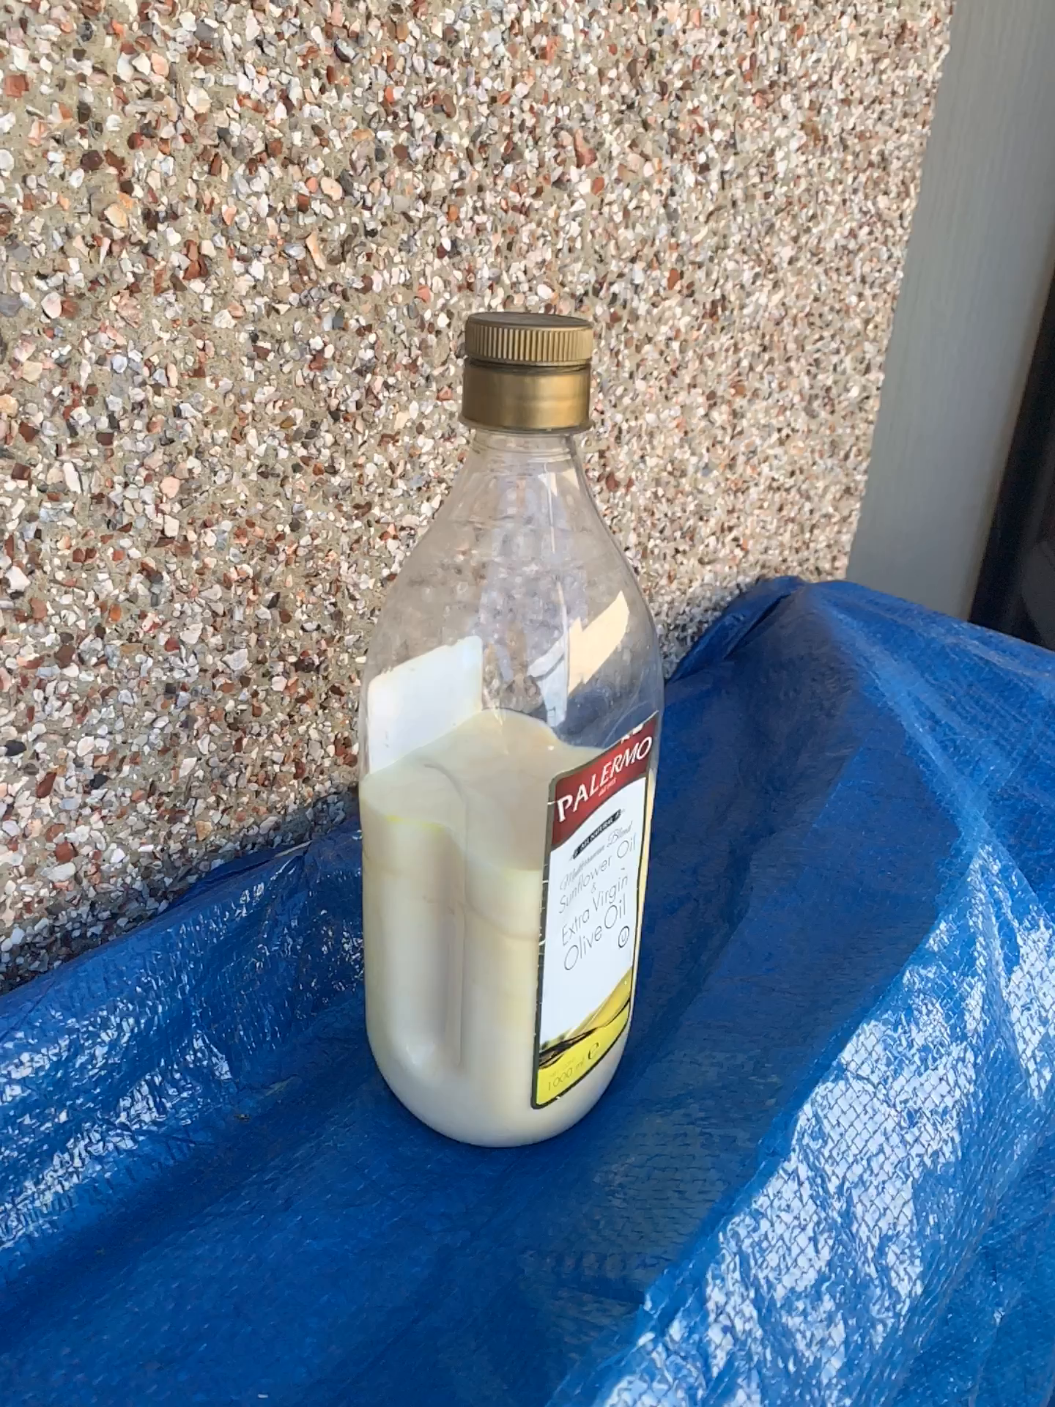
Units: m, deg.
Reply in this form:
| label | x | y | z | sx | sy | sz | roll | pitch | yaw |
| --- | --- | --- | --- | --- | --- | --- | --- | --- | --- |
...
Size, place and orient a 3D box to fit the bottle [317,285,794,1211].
| label | x | y | z | sx | sy | sz | roll | pitch | yaw |
| --- | --- | --- | --- | --- | --- | --- | --- | --- | --- |
| bottle | 0.003 | 0.015 | 0.310 | 0.080 | 0.238 | 0.080 | 2 | 27 | -1 |
